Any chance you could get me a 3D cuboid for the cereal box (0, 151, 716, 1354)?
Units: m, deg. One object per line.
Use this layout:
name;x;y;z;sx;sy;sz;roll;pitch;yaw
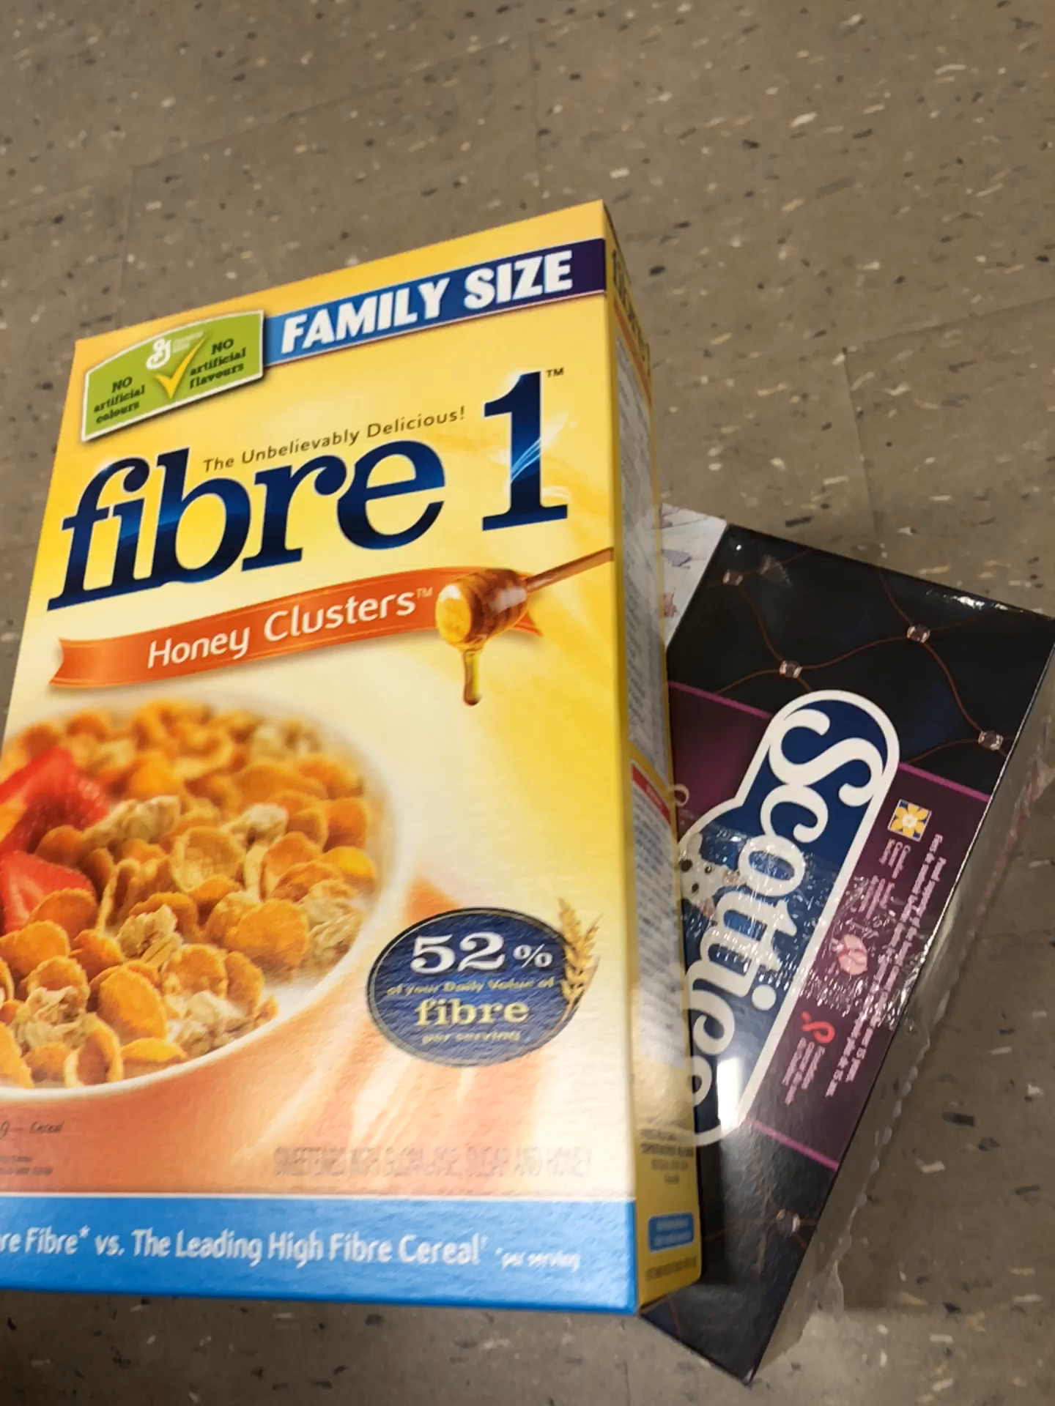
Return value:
cereal box;-0.059;0.007;0.357;0.200;0.080;0.320;-8;65;18
